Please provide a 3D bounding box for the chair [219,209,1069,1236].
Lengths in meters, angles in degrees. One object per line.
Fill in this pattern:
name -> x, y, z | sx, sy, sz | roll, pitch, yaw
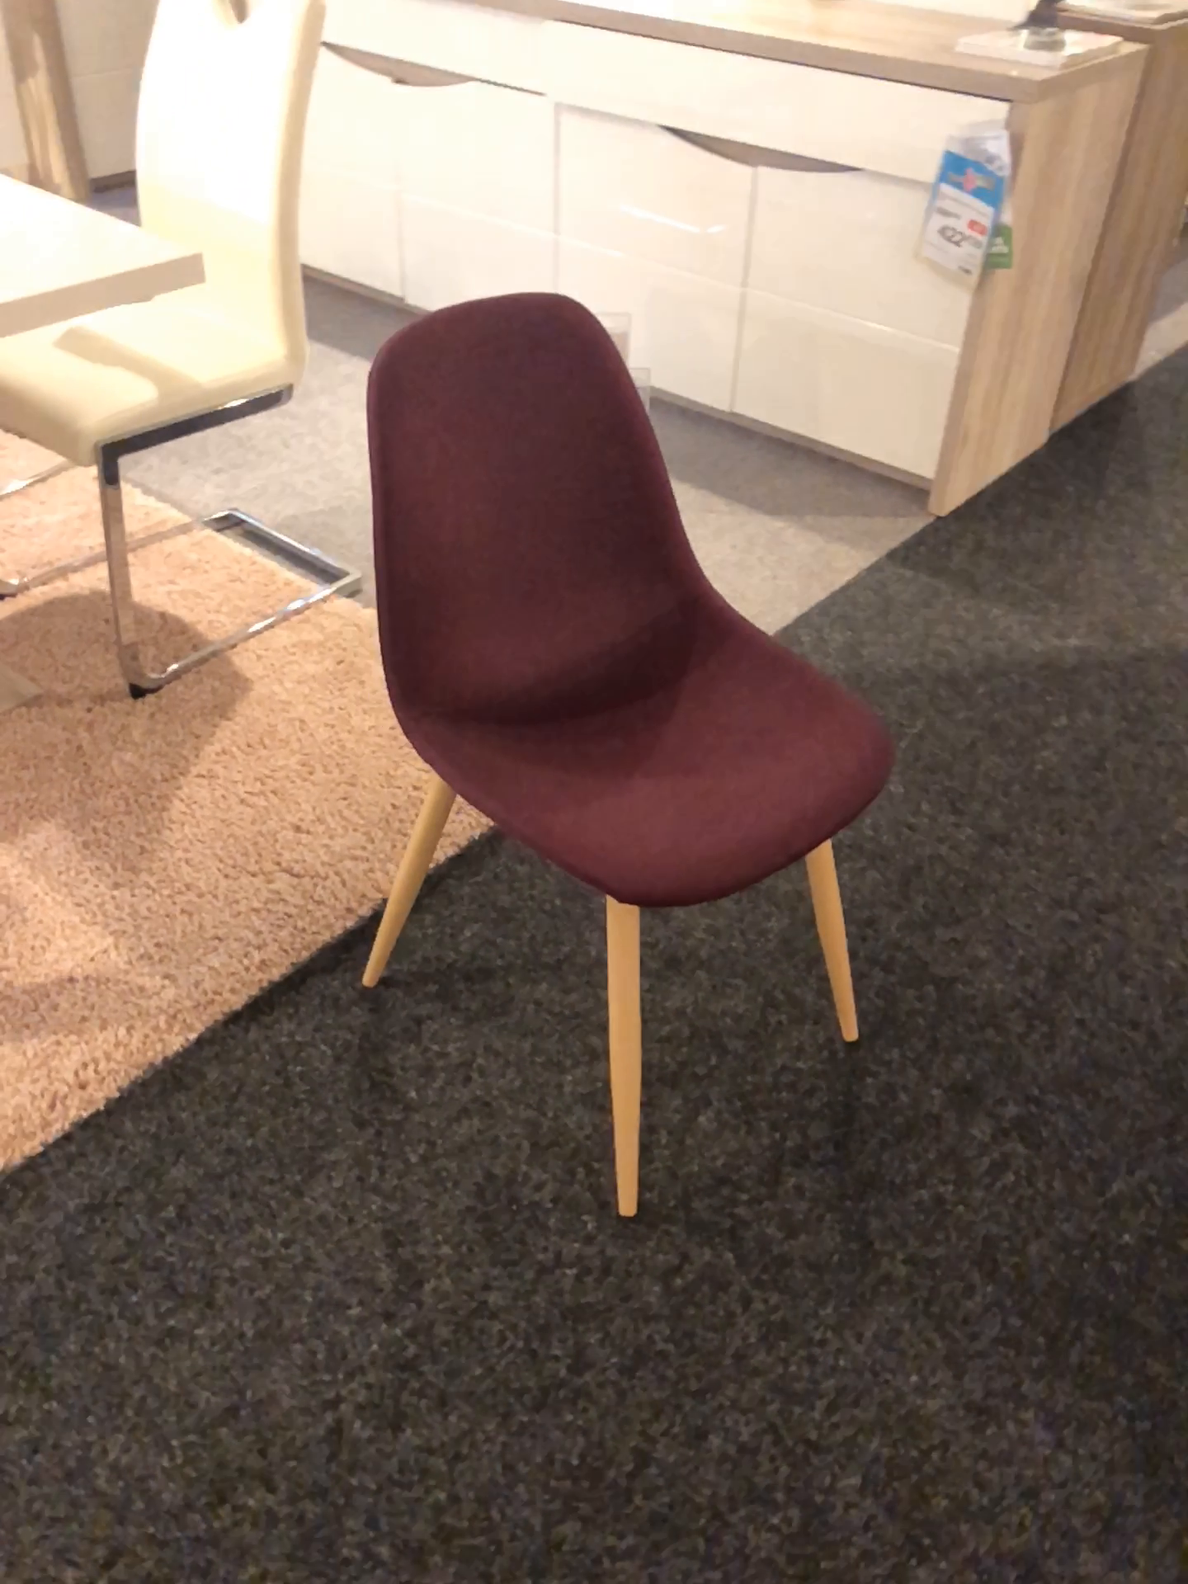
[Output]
chair -> 0.019, -0.092, 1.366 | 0.473, 0.795, 0.570 | -28, 48, -34
